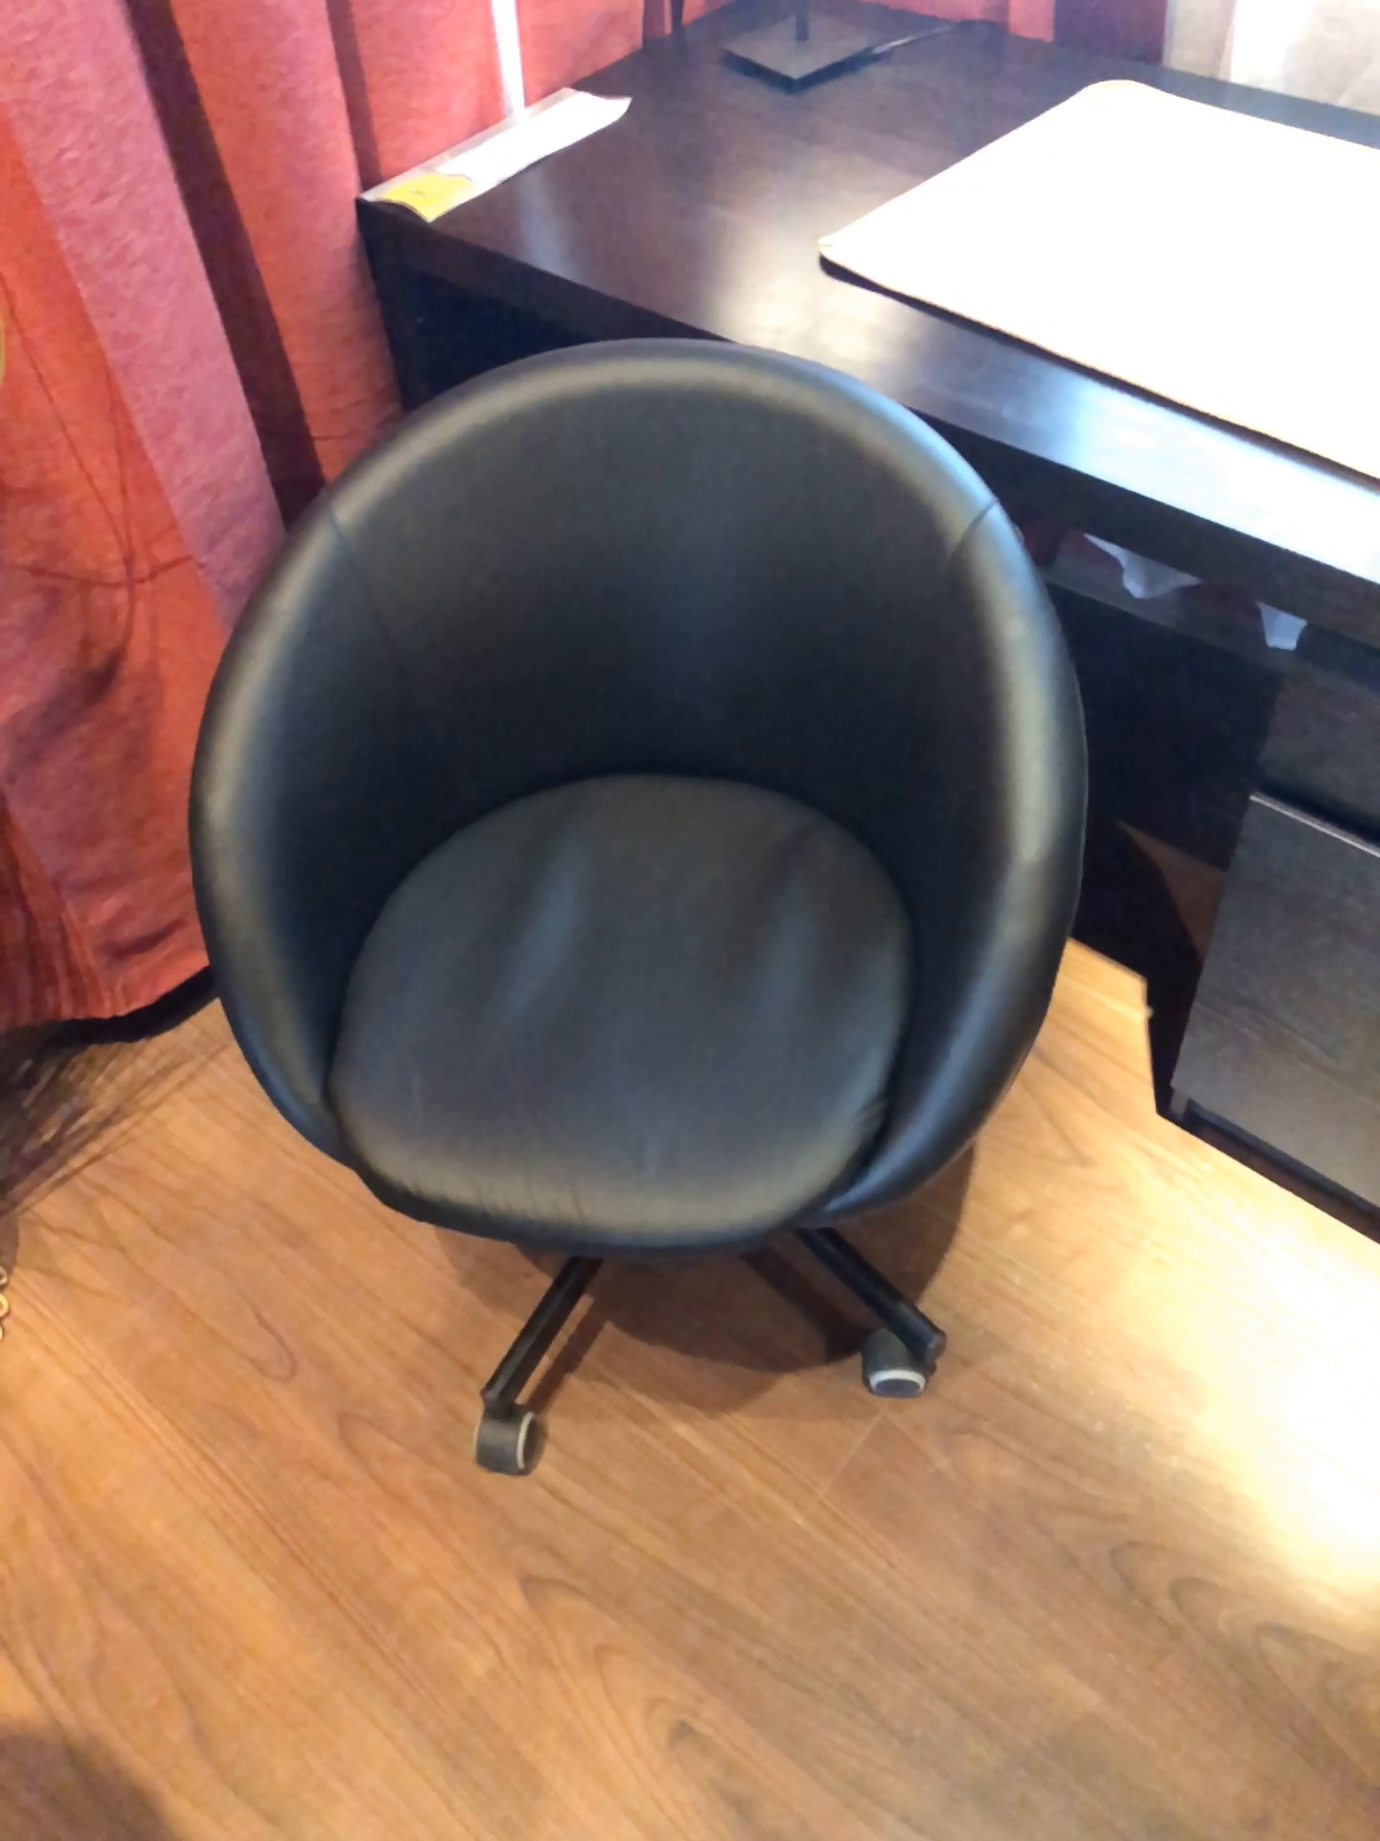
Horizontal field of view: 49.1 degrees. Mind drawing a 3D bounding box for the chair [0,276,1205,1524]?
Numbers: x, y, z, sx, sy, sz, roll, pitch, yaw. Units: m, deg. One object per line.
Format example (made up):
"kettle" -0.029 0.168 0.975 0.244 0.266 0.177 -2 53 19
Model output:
"chair" -0.044 0.010 1.115 0.630 0.696 0.573 1 50 7
